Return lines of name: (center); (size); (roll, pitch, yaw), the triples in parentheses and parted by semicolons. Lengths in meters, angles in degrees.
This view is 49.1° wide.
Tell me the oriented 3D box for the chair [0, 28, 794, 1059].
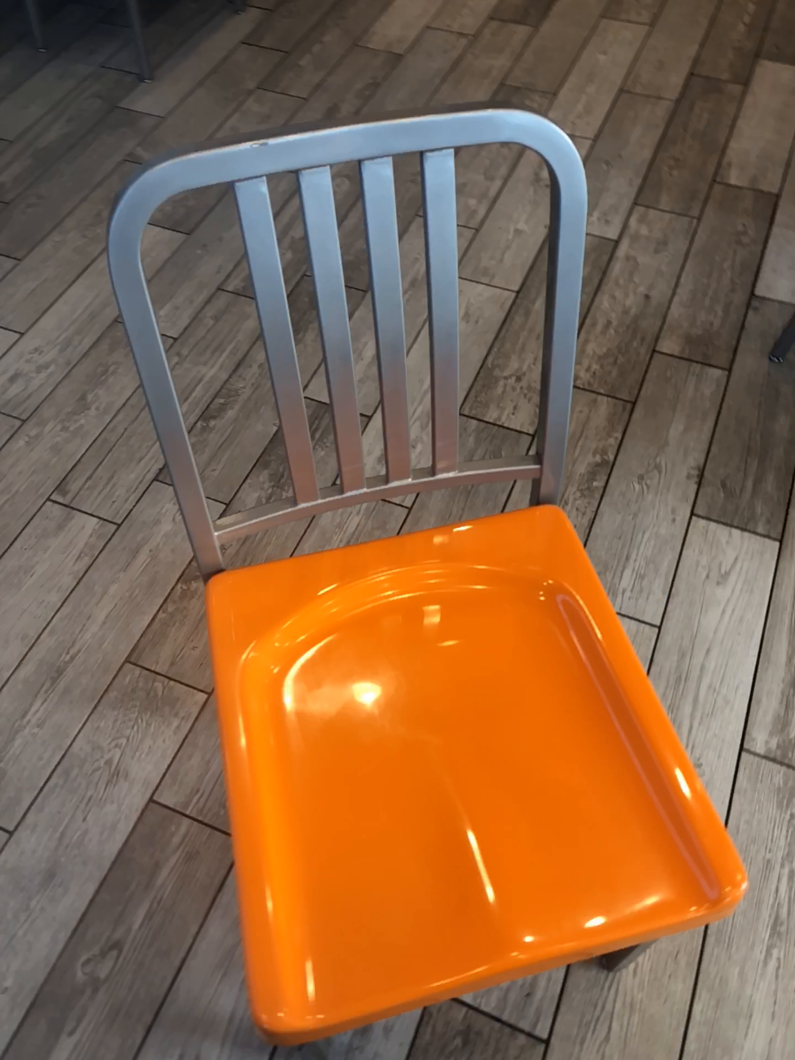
chair: (0.042, 0.138, 0.762); (0.470, 0.818, 0.511); (-12, 56, -7)
